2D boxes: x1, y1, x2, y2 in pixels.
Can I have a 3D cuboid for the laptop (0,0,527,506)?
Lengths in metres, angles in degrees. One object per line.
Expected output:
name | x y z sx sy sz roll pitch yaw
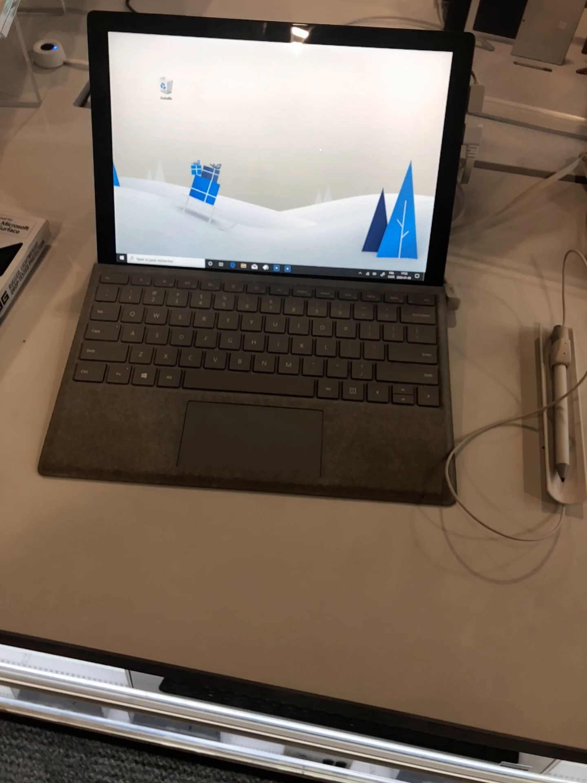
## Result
laptop | -0.020 -0.107 0.465 0.285 0.150 0.308 4 59 -1
